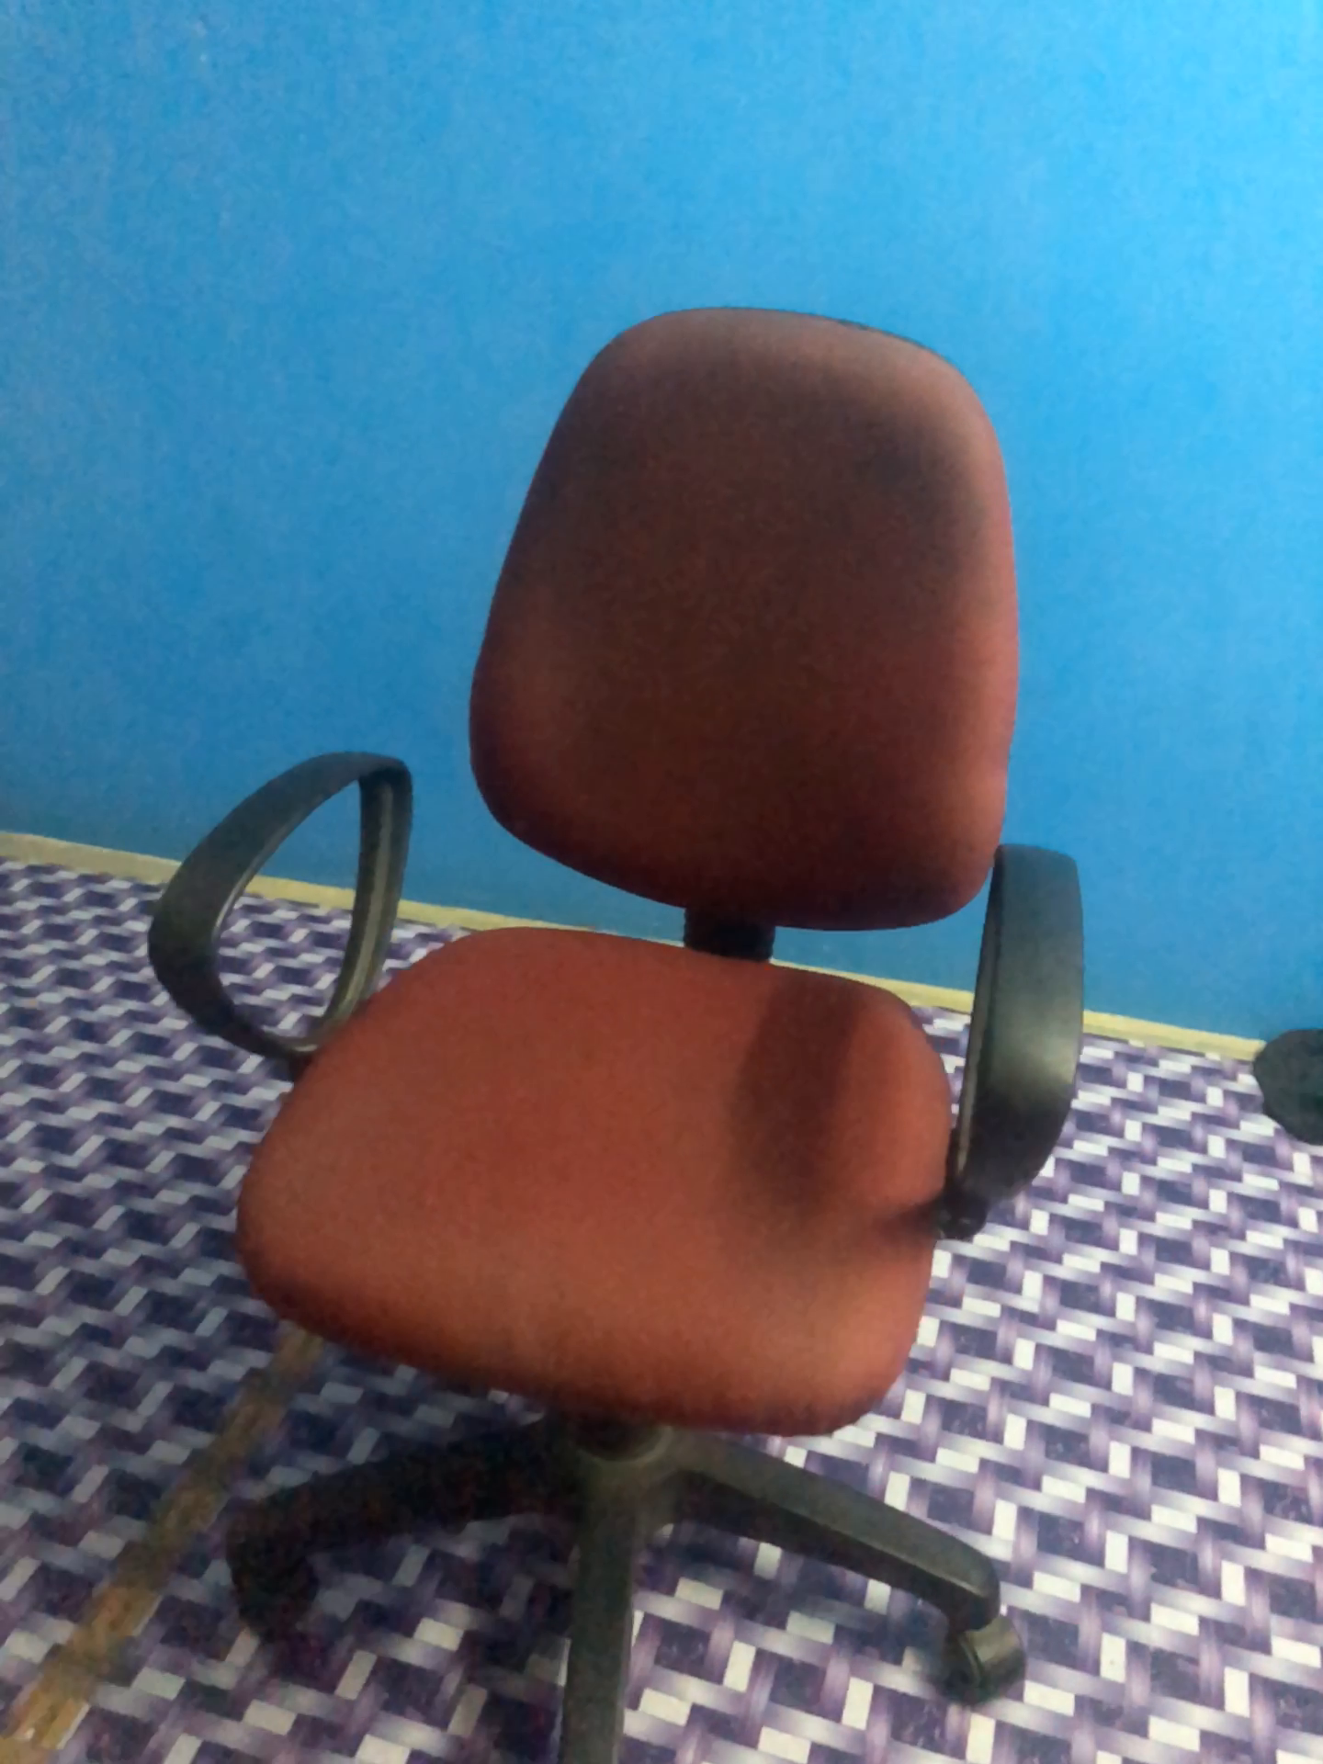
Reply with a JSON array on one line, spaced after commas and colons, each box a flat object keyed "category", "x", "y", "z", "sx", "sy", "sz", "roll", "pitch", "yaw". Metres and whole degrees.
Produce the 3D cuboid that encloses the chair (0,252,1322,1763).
[{"category": "chair", "x": -0.017, "y": 0.112, "z": 1.000, "sx": 0.700, "sy": 0.895, "sz": 0.744, "roll": 12, "pitch": 31, "yaw": 18}]
